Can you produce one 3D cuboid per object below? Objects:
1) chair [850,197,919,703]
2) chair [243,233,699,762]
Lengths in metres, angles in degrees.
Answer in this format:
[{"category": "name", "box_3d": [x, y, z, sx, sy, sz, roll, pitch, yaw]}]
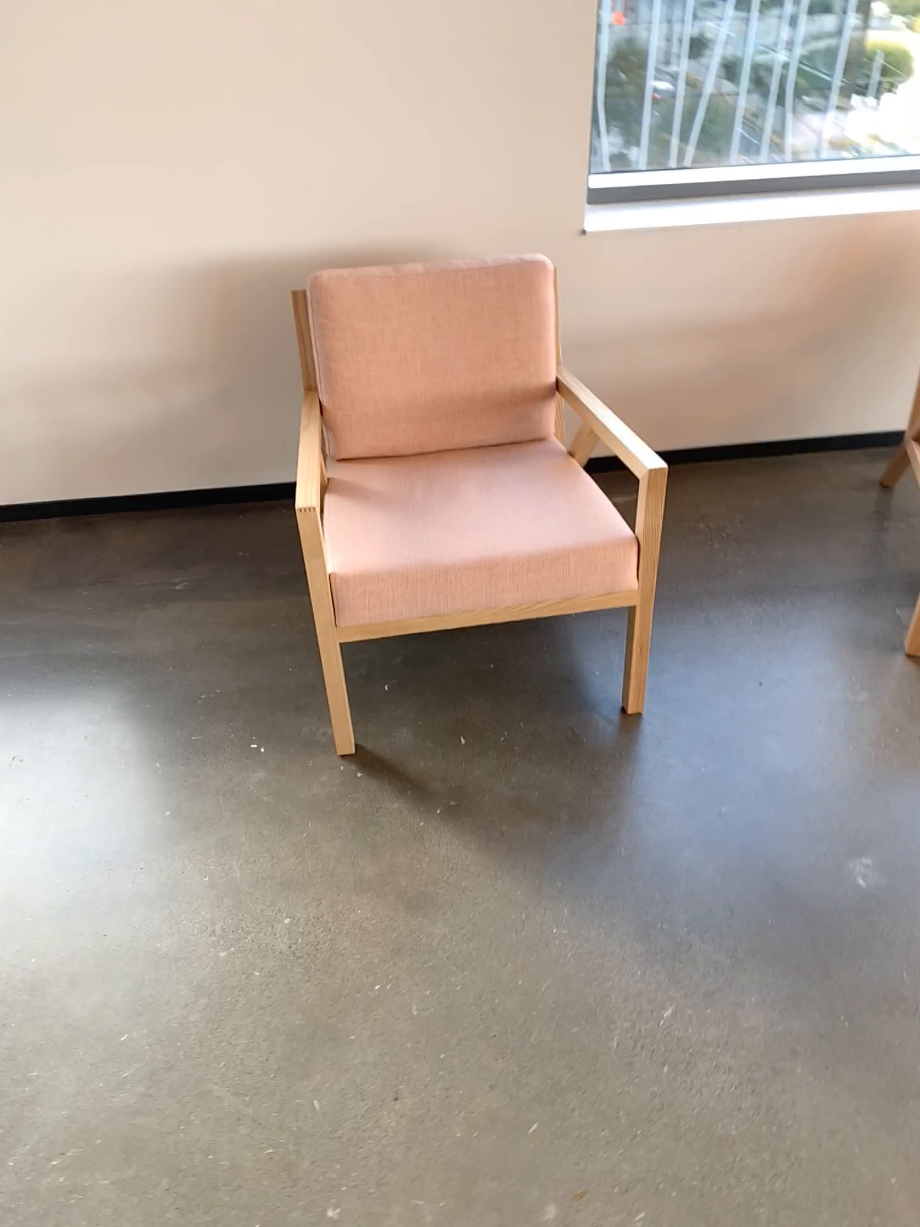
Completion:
[{"category": "chair", "box_3d": [1.401, -0.403, 2.124, 0.740, 0.795, 0.774, 7, 39, 11]}, {"category": "chair", "box_3d": [-0.015, -0.275, 2.059, 0.740, 0.795, 0.775, -6, 40, -5]}]
